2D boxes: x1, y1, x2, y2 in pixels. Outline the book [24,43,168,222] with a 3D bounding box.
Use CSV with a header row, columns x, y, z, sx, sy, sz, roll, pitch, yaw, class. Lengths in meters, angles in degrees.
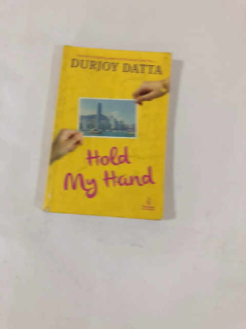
x,y,z,sx,sy,sz,roll,pitch,yaw,class
-0.025,-0.038,0.308,0.140,0.020,0.190,4,80,-2,book
